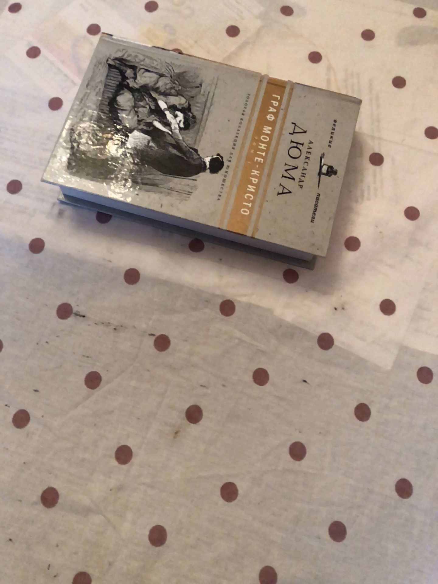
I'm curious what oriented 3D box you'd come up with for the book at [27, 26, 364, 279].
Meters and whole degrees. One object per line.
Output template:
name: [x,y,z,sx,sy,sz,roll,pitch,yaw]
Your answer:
book: [-0.012,-0.105,0.360,0.208,0.040,0.135,15,74,2]
